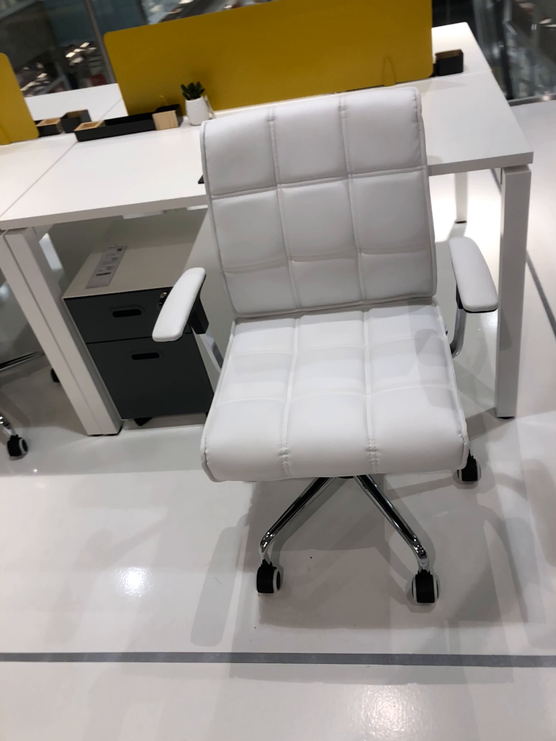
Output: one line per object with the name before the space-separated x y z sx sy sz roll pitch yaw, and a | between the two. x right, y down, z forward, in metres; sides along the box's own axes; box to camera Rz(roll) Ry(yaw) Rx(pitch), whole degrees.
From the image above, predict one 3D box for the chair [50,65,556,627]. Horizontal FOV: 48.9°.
chair | 0.123 -0.015 1.252 0.650 0.883 0.635 -6 38 9
